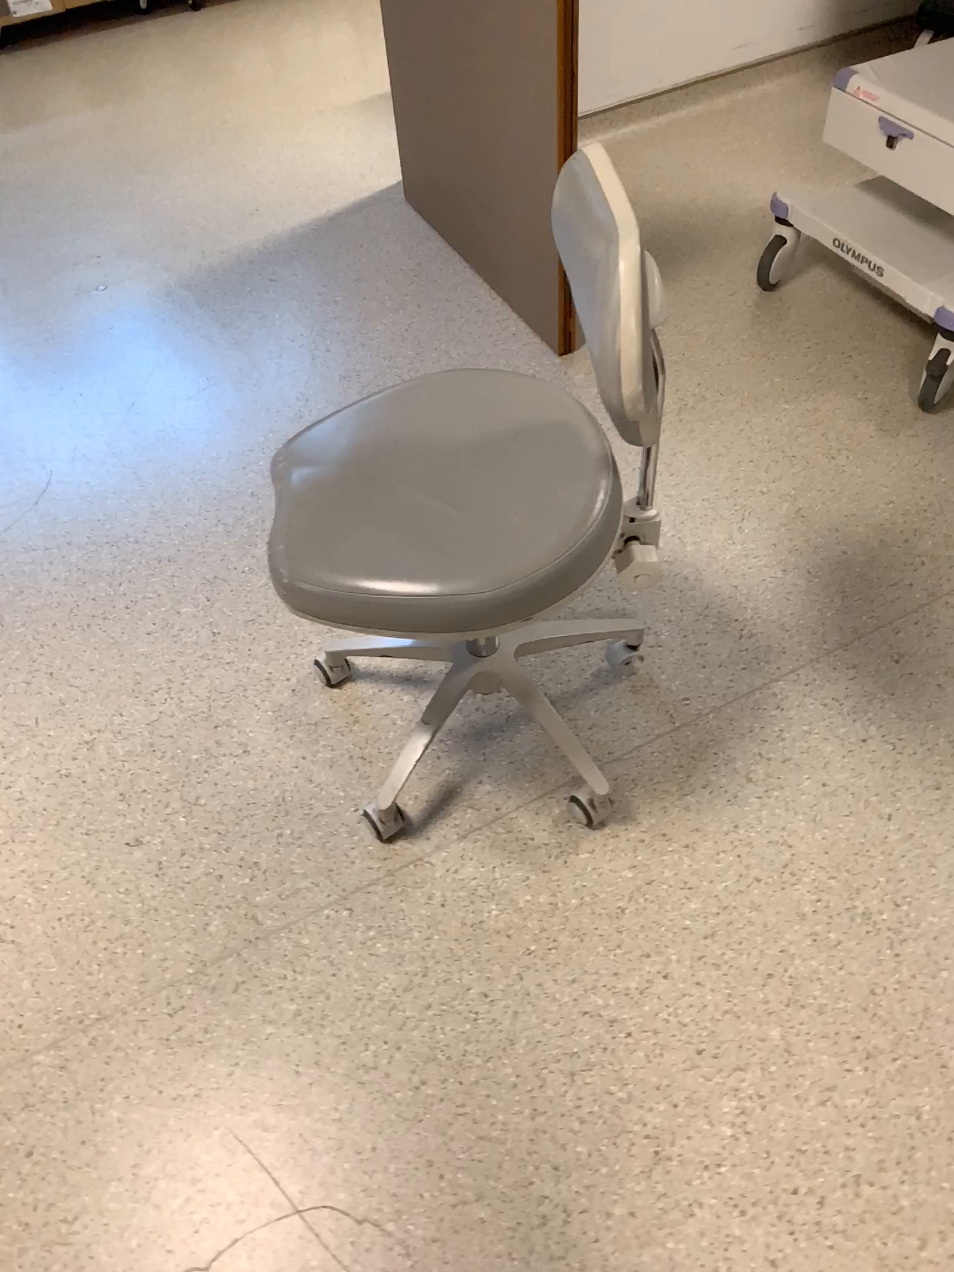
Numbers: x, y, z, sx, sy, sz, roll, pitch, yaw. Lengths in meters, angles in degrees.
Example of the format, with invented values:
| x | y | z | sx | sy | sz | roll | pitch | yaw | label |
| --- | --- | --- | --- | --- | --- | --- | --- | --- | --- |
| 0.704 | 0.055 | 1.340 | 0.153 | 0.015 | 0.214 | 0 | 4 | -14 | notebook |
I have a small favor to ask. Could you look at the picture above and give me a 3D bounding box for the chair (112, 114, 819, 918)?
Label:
| x | y | z | sx | sy | sz | roll | pitch | yaw | label |
| --- | --- | --- | --- | --- | --- | --- | --- | --- | --- |
| -0.020 | -0.122 | 1.322 | 0.600 | 0.823 | 0.605 | -8 | 49 | -2 | chair |
